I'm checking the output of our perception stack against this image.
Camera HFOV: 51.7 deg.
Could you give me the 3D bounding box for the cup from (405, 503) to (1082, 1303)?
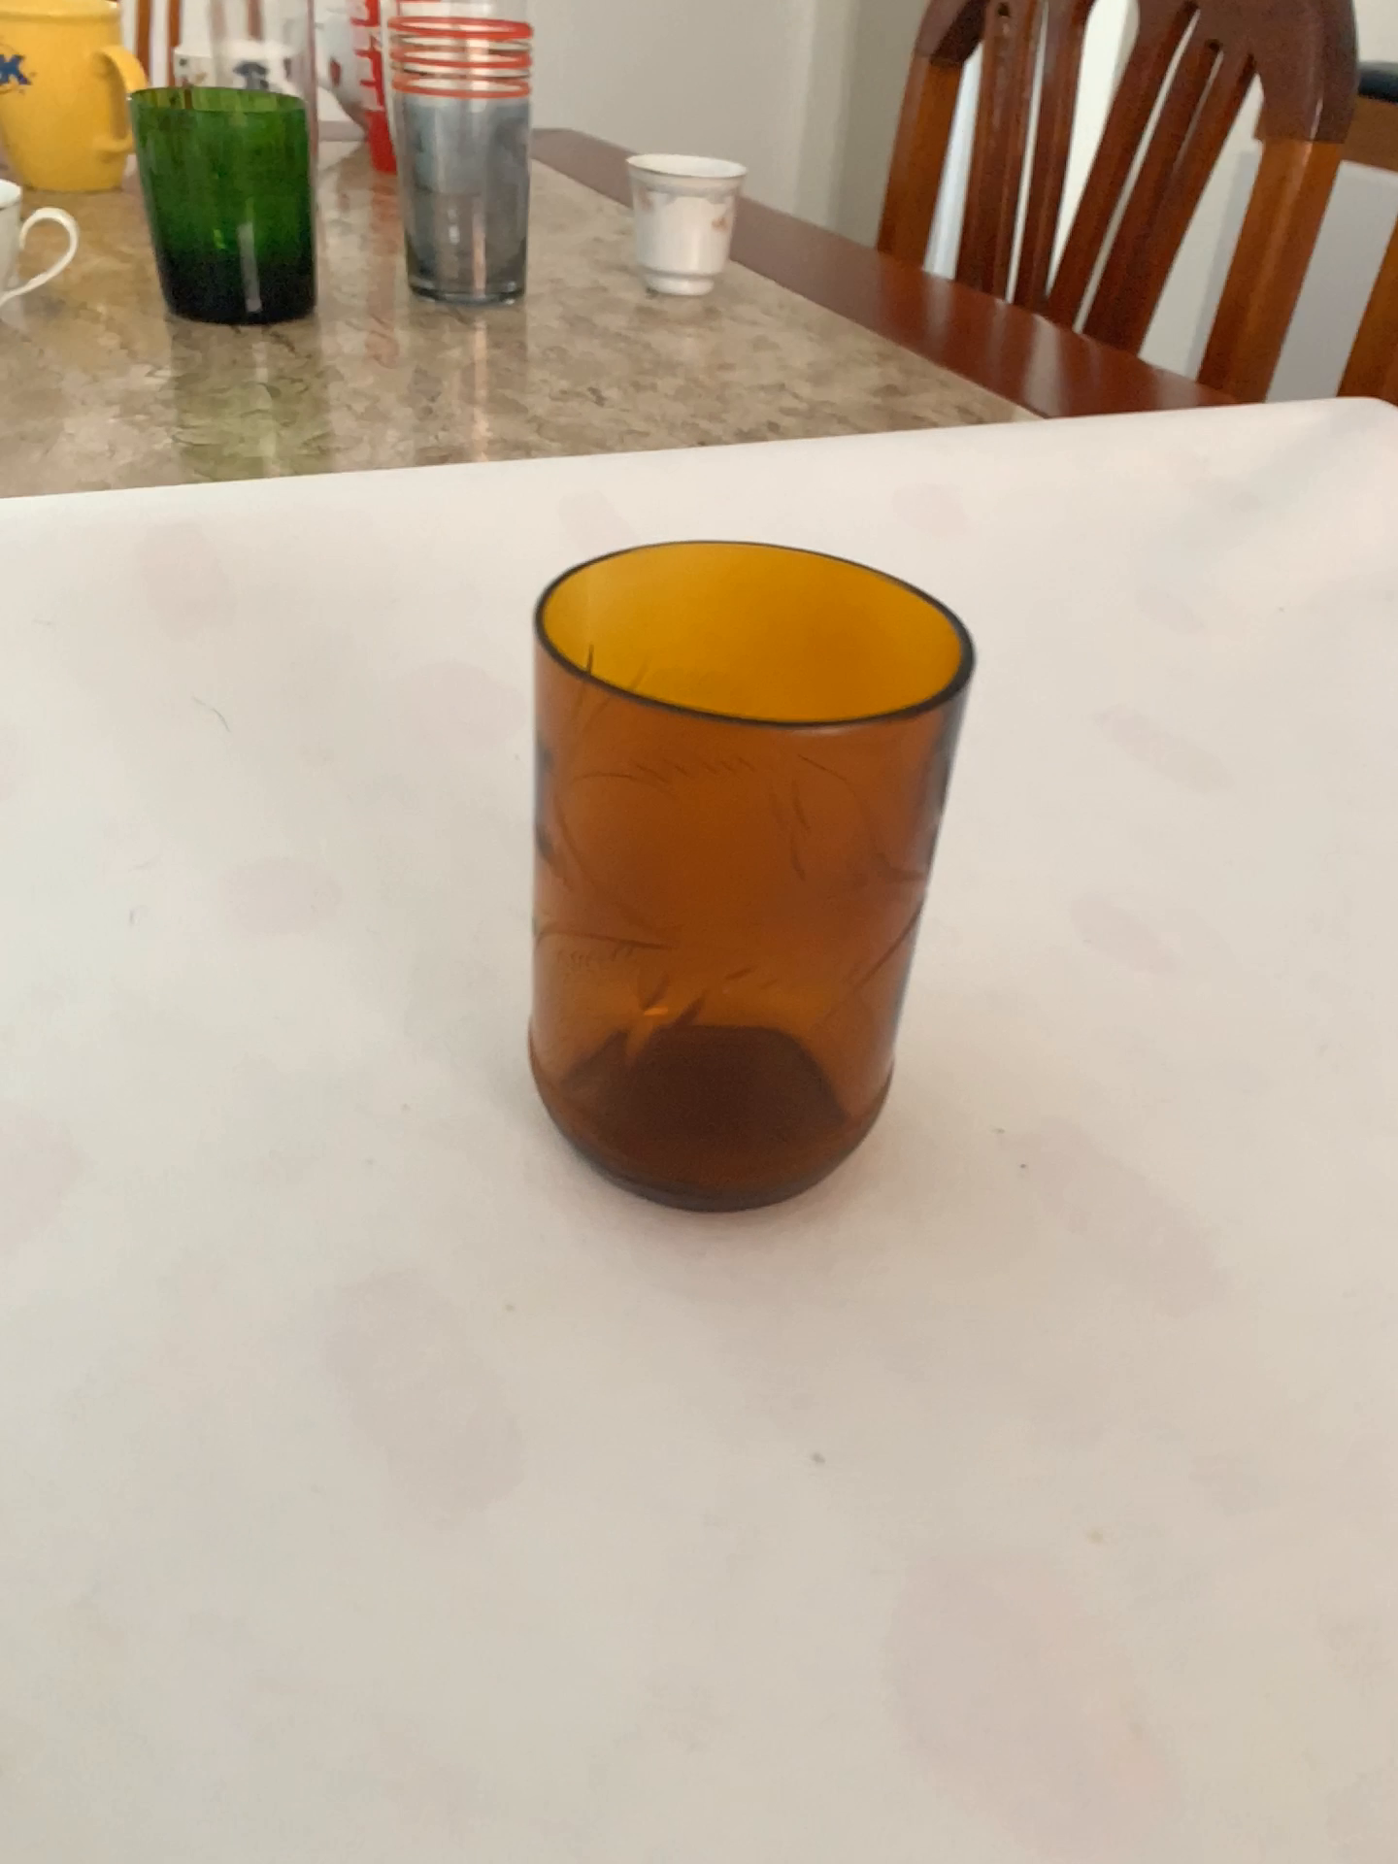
[{"bbox_3d":[0.000,-0.008,0.225,0.070,0.089,0.070,3,35,-2],"label":"cup"}]
